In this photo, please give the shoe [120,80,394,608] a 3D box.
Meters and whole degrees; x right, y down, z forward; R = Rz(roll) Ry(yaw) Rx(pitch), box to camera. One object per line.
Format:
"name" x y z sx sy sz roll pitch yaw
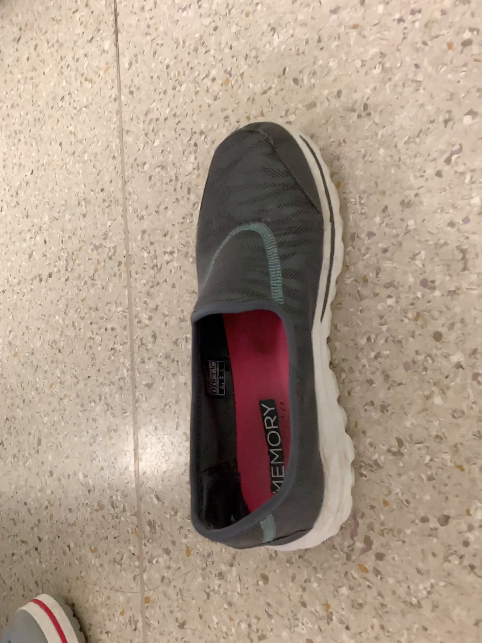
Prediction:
"shoe" 0.003 0.011 0.279 0.103 0.075 0.239 -14 78 35
